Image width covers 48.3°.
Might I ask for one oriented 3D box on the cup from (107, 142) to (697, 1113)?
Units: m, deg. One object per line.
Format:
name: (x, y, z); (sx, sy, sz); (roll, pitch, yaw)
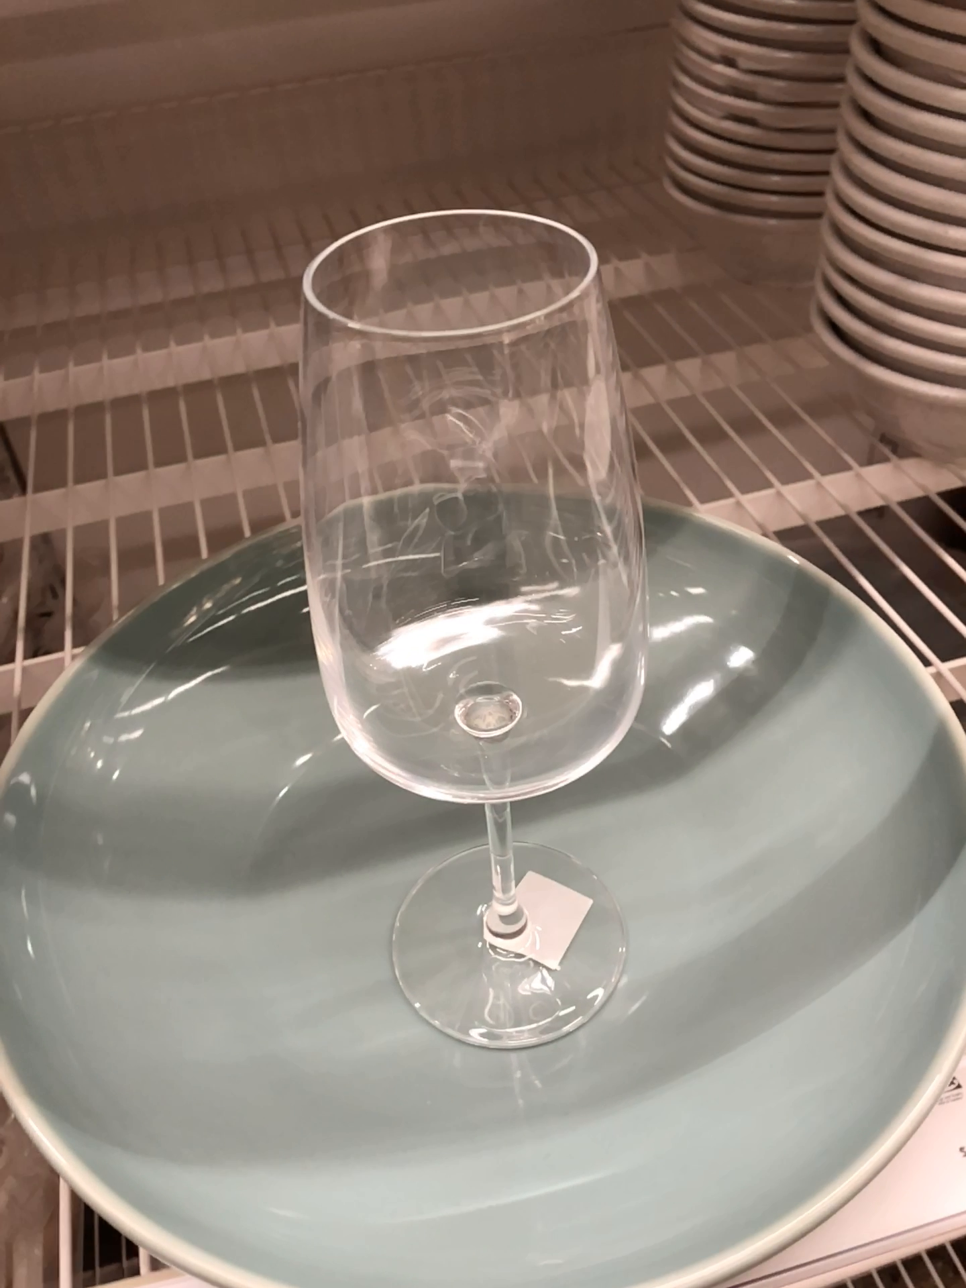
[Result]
cup: (0.000, 0.014, 0.320); (0.100, 0.279, 0.100); (-3, 41, 3)
